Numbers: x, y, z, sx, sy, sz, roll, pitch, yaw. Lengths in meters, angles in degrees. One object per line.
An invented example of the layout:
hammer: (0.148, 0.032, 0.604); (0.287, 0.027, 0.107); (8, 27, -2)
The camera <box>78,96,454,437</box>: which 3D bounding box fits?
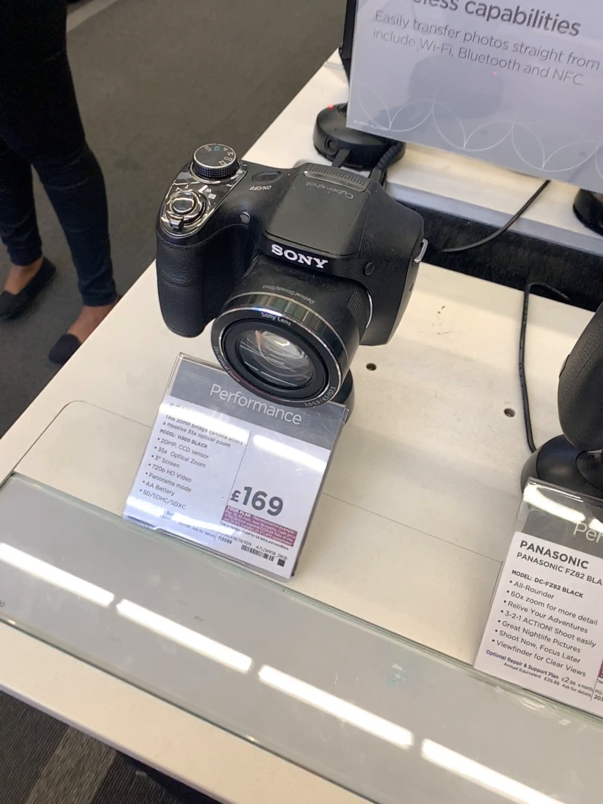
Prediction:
camera: (-0.012, -0.065, 0.292); (0.130, 0.089, 0.091); (19, 54, 12)
